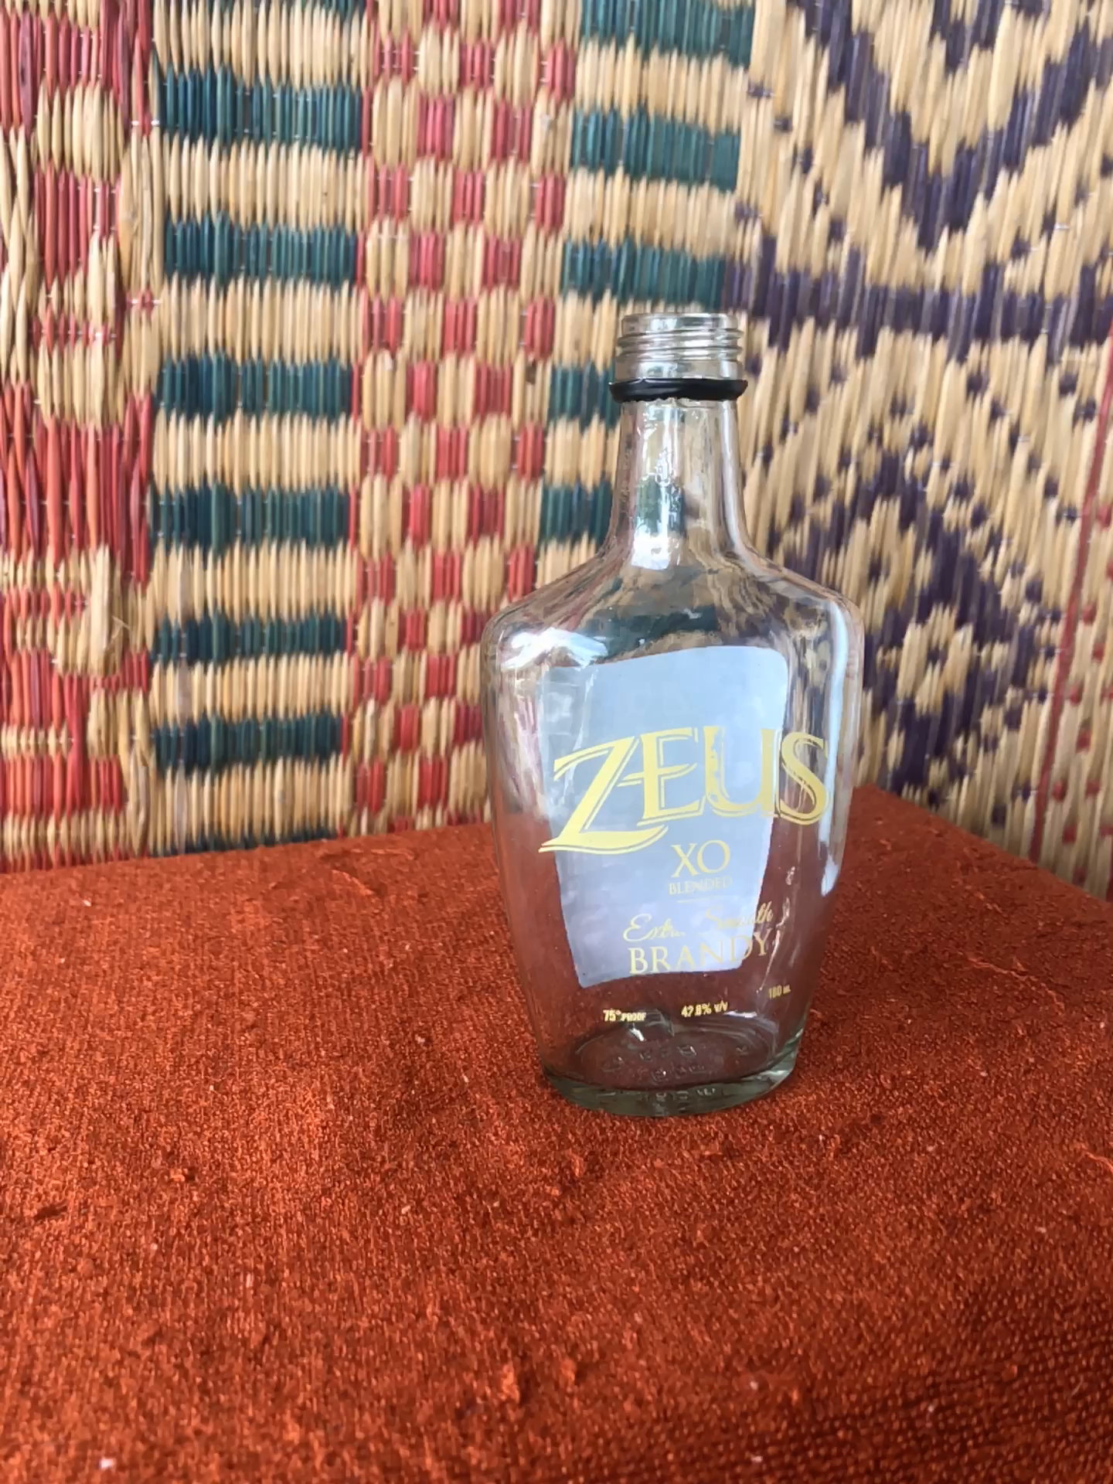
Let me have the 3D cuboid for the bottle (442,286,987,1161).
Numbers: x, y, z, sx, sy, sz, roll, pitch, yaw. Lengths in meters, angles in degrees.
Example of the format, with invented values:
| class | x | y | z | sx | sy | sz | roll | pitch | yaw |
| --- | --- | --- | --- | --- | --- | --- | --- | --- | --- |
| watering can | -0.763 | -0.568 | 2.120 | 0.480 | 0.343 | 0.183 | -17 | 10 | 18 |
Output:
| class | x | y | z | sx | sy | sz | roll | pitch | yaw |
| --- | --- | --- | --- | --- | --- | --- | --- | --- | --- |
| bottle | 0.022 | -0.002 | 0.231 | 0.080 | 0.149 | 0.040 | -1 | 18 | -13 |
